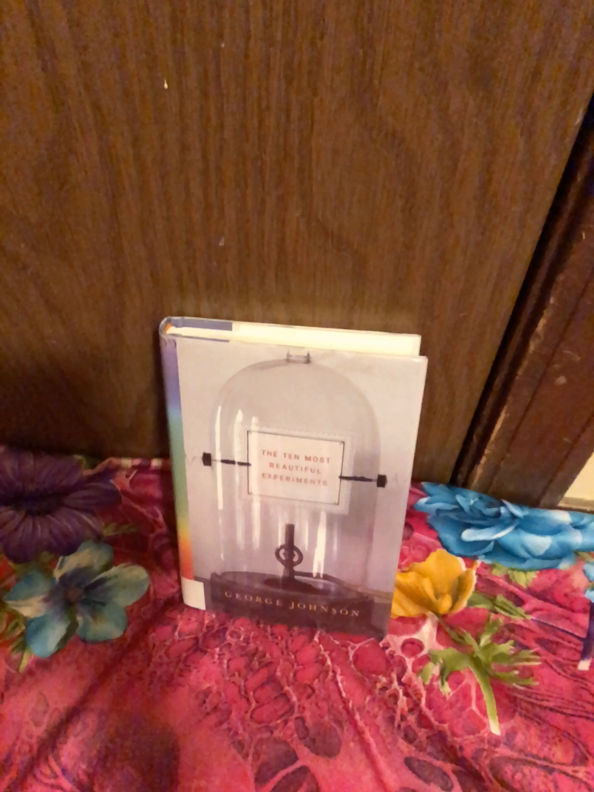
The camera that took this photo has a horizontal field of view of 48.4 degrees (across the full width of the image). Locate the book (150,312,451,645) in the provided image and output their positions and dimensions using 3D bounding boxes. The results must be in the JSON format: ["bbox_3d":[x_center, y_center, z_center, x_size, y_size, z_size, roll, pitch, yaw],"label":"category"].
[{"bbox_3d":[-0.002,0.053,0.367,0.140,0.190,0.033,5,31,4],"label":"book"}]
